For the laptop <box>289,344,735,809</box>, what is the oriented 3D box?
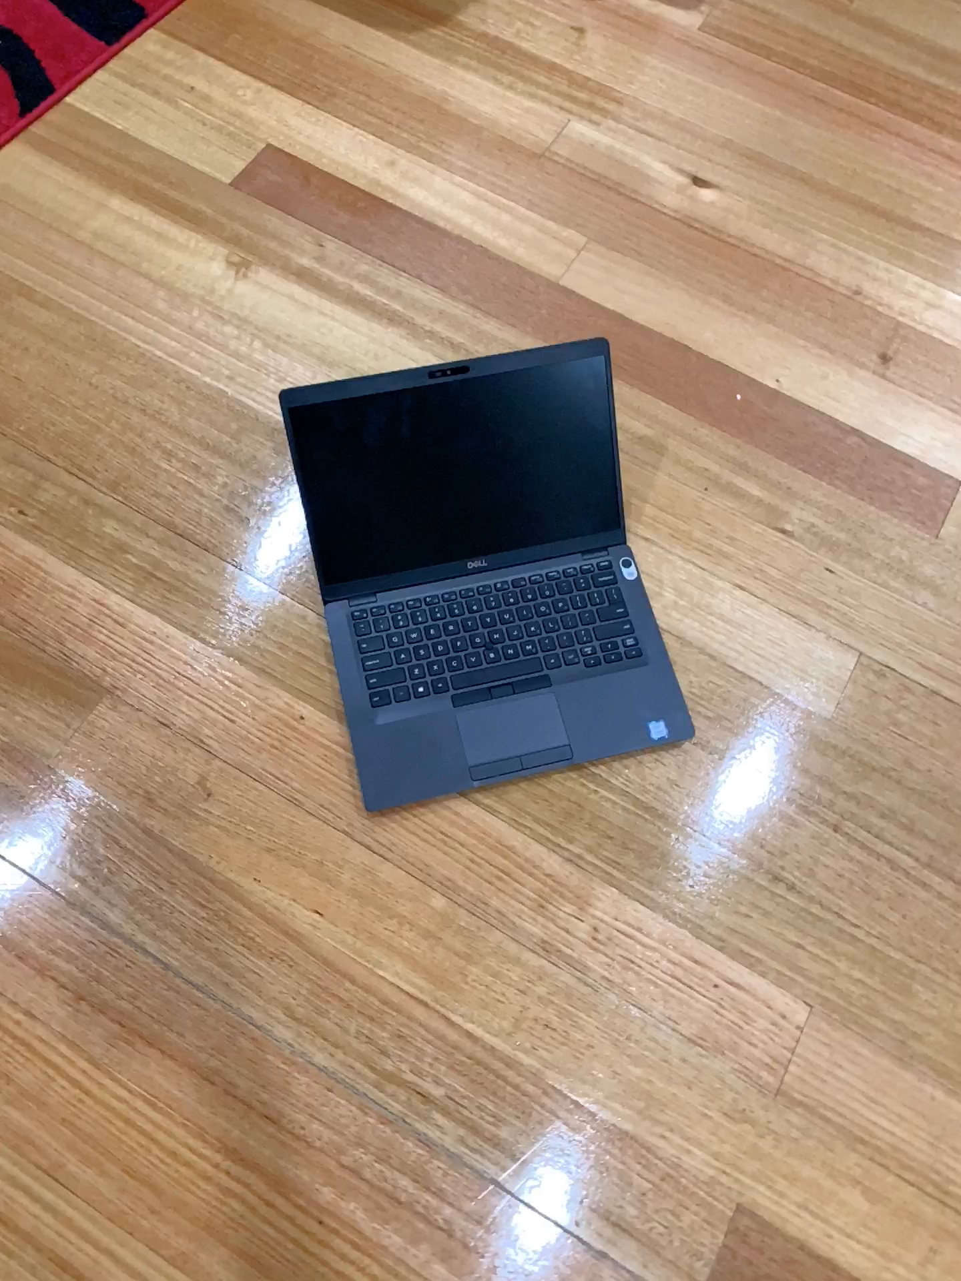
[{"bbox_3d":[0.014,-0.070,0.940,0.320,0.134,0.372,-11,68,-9],"label":"laptop"}]
